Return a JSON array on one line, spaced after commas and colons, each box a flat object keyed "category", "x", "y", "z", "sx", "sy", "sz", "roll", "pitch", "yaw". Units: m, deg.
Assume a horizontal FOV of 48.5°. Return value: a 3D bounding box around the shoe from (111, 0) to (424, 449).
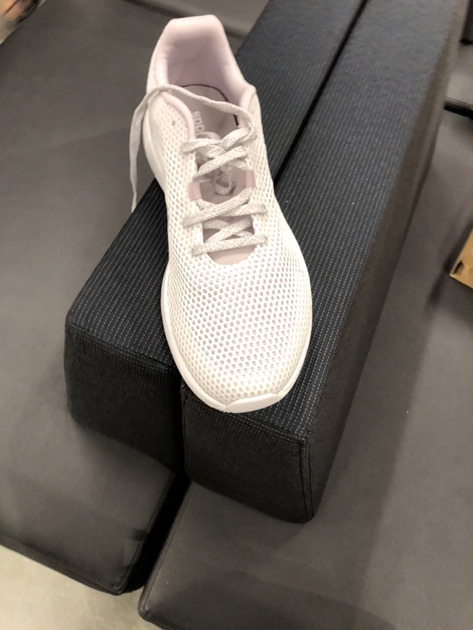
[{"category": "shoe", "x": -0.002, "y": -0.072, "z": 0.369, "sx": 0.120, "sy": 0.140, "sz": 0.280, "roll": -9, "pitch": 65, "yaw": -9}]
